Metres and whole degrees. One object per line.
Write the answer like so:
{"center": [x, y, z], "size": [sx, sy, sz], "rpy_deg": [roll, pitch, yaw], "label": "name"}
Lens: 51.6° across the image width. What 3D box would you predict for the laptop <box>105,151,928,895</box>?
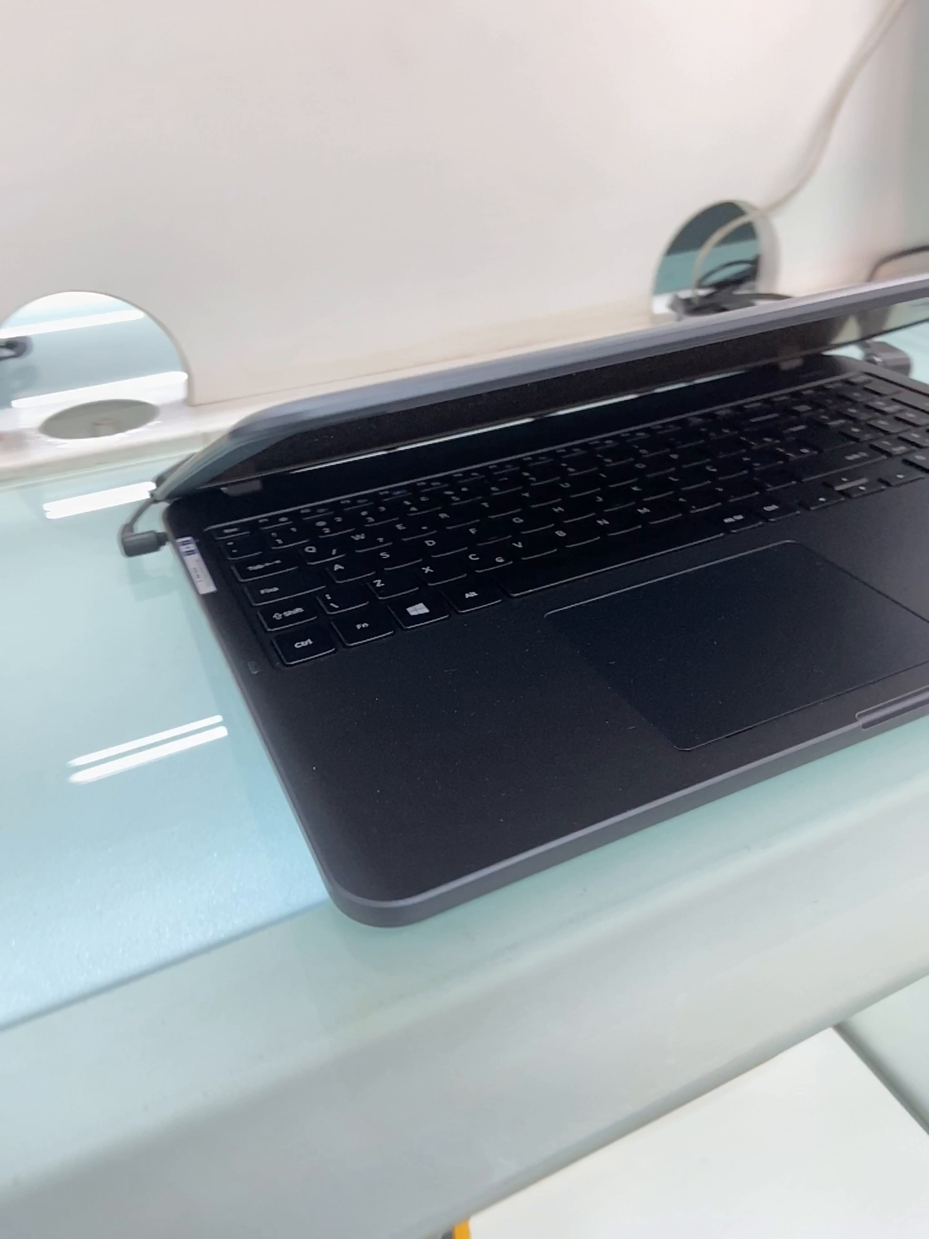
{"center": [0.090, -0.086, 0.352], "size": [0.376, 0.101, 0.234], "rpy_deg": [-16, 35, -21], "label": "laptop"}
